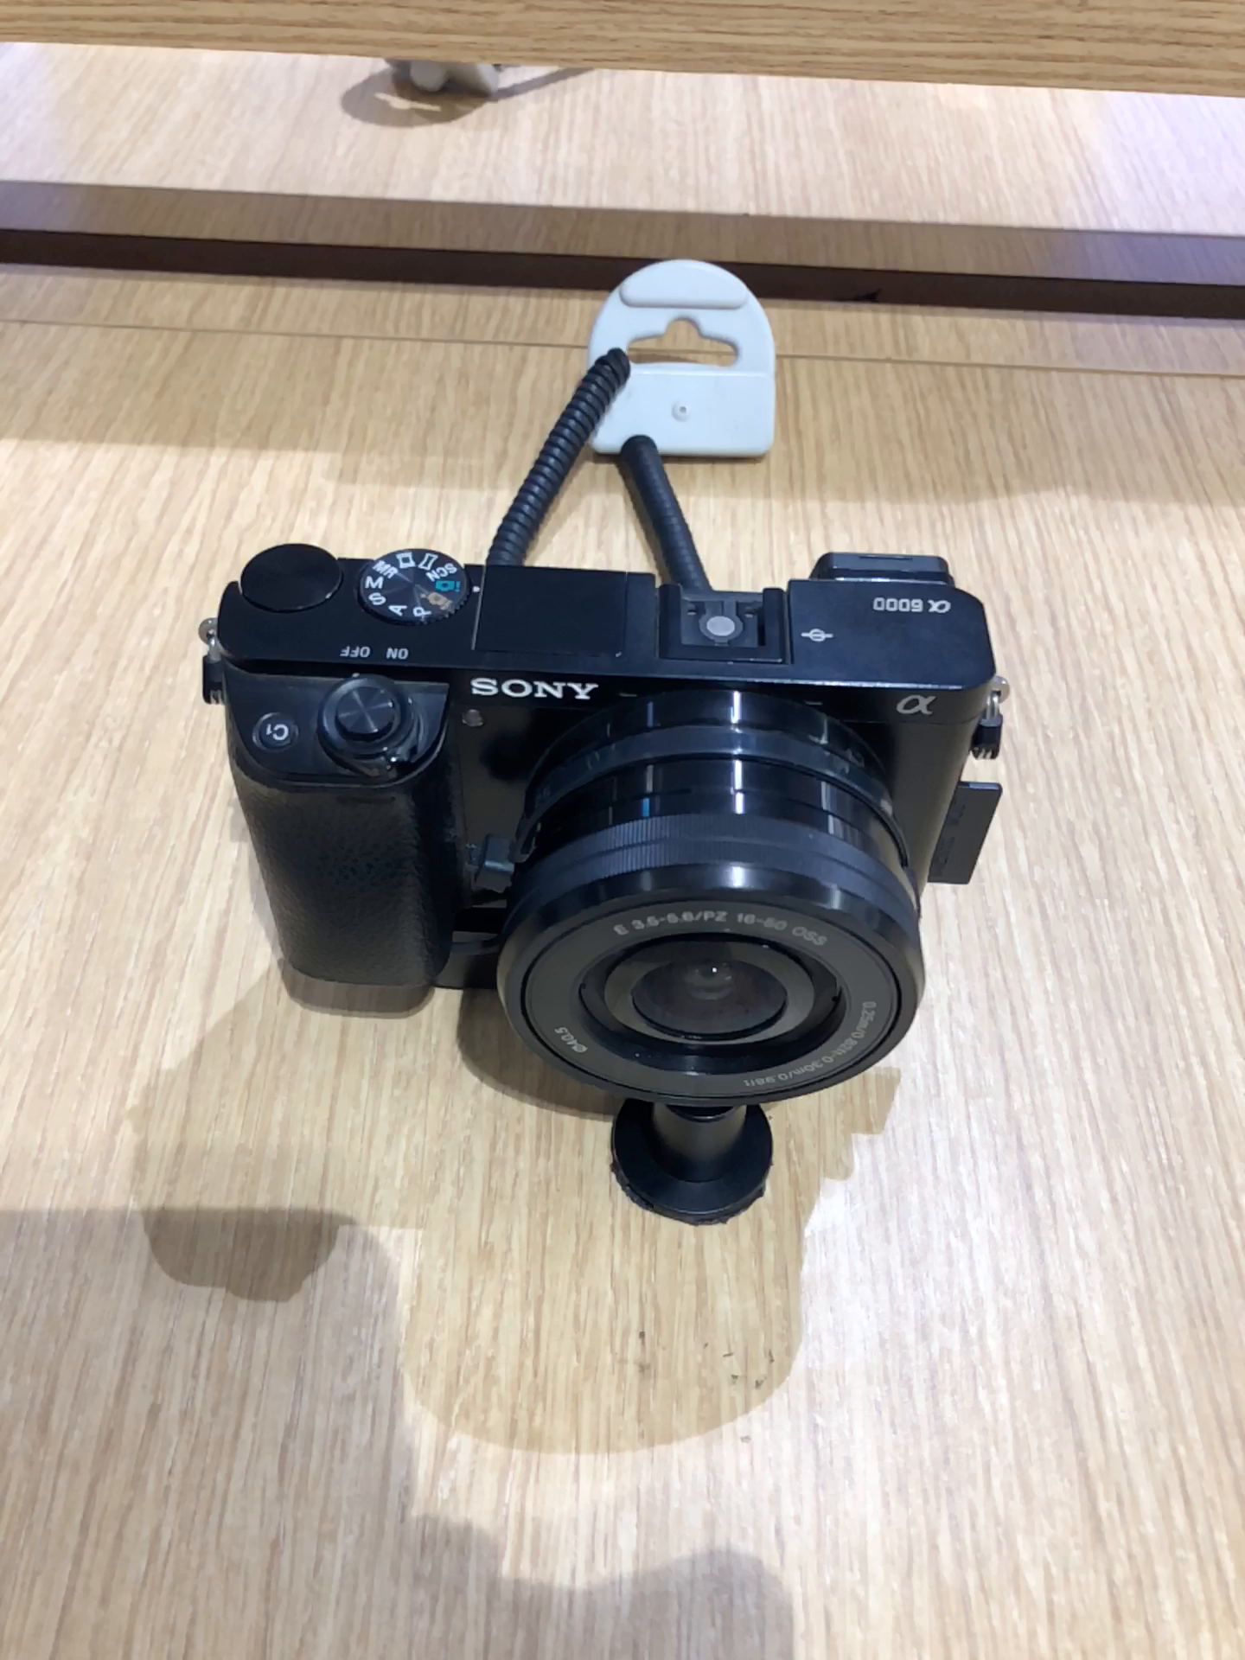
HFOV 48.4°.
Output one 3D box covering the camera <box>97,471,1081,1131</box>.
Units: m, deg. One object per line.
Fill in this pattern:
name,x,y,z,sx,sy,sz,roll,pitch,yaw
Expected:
camera,-0.004,-0.002,0.196,0.107,0.070,0.059,2,49,-1
